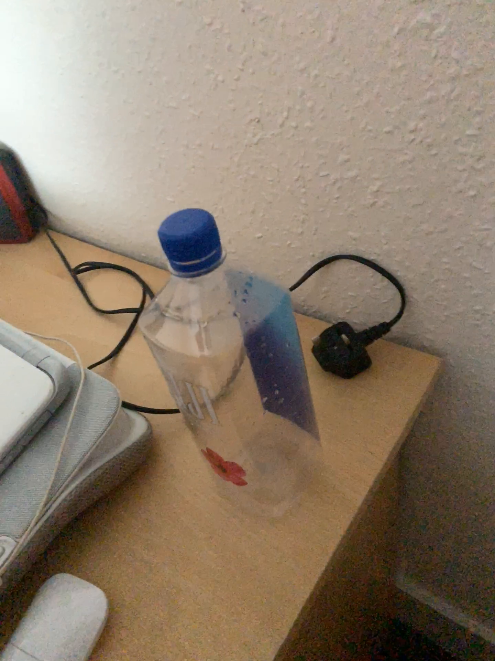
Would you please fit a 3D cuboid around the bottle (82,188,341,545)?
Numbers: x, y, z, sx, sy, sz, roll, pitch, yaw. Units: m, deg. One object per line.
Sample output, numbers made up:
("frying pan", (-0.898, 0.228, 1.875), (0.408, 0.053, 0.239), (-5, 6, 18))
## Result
("bottle", (-0.006, 0.031, 0.320), (0.090, 0.208, 0.080), (22, 52, 33))
